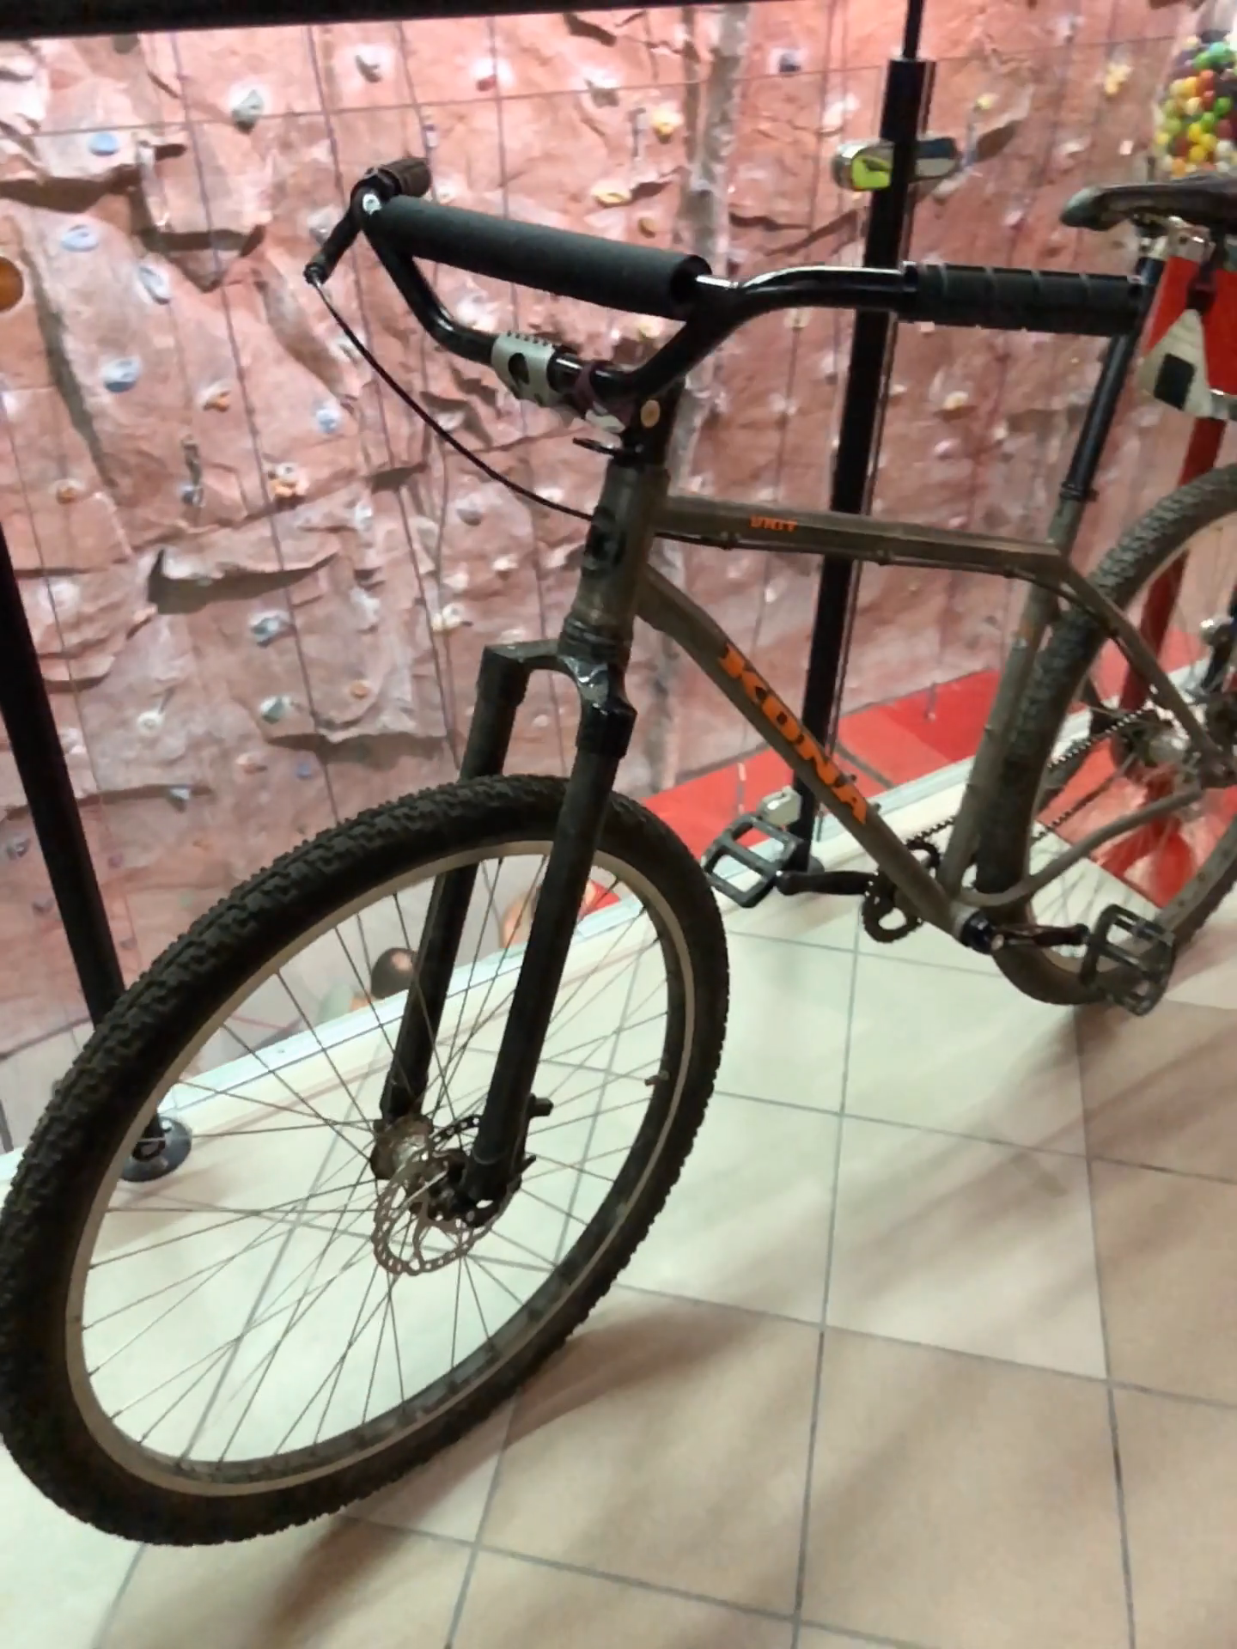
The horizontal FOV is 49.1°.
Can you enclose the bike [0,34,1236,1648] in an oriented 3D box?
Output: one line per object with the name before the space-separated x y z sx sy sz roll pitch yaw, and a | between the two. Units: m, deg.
bike | 0.255 -0.128 1.381 1.825 1.100 0.751 -23 43 -32
